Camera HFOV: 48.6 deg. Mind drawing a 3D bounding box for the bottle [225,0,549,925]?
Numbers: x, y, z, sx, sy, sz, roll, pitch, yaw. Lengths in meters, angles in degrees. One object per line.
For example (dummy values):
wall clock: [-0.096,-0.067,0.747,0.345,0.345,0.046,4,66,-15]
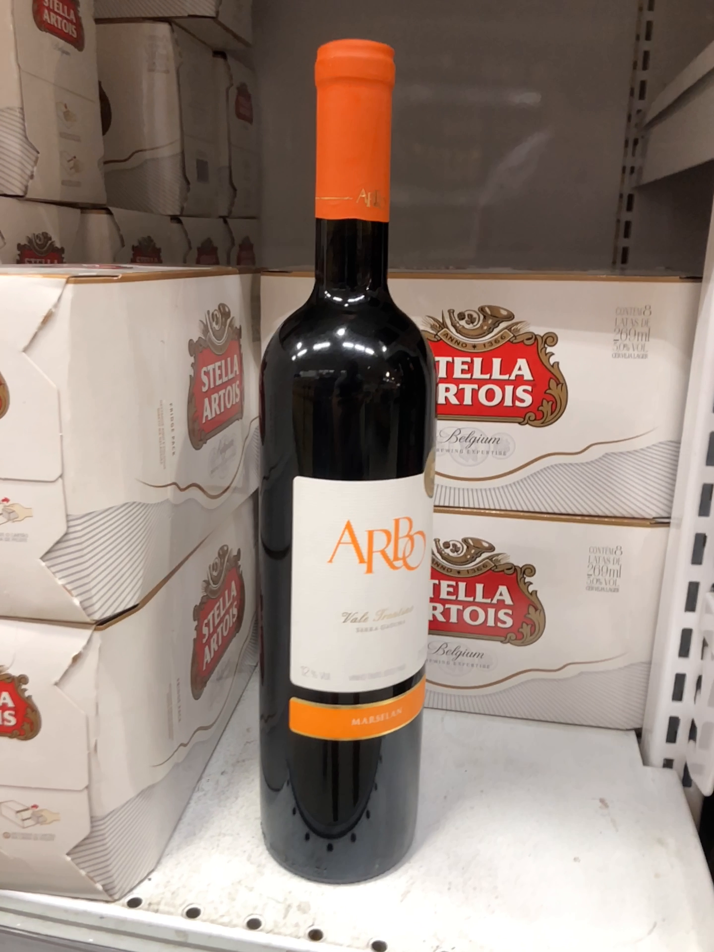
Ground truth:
bottle: [0.004,0.004,0.298,0.080,0.308,0.070,-7,18,-27]
